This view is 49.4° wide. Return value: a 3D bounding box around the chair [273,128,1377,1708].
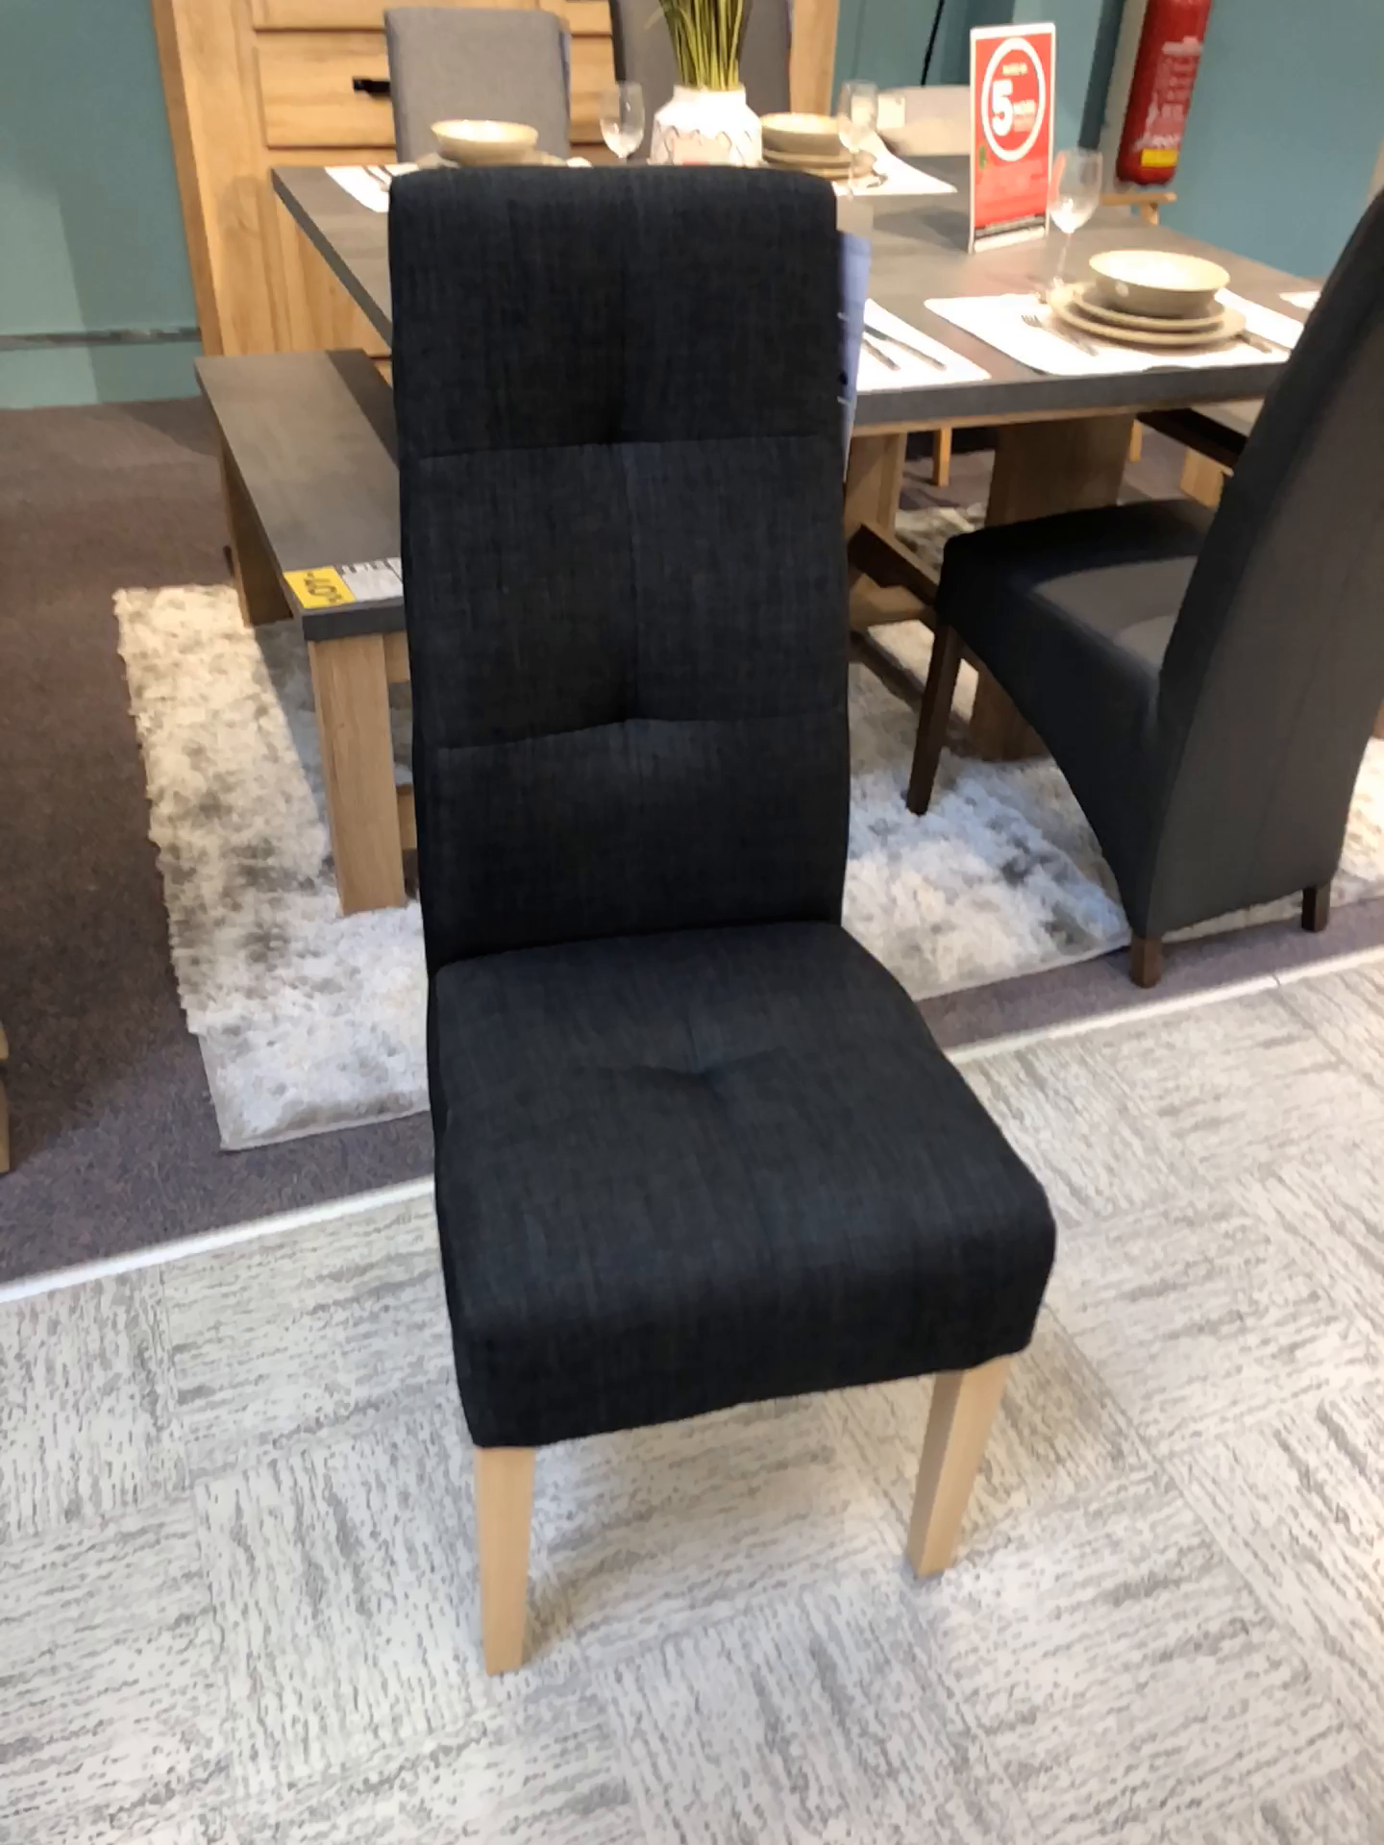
[{"bbox_3d":[-0.007,0.003,1.197,0.481,1.044,0.603,-7,37,-14],"label":"chair"}]
